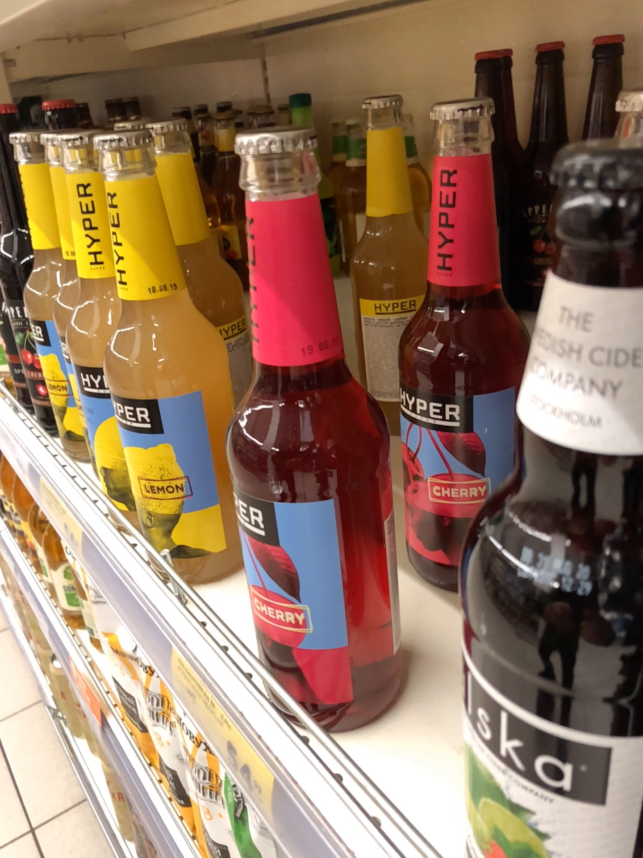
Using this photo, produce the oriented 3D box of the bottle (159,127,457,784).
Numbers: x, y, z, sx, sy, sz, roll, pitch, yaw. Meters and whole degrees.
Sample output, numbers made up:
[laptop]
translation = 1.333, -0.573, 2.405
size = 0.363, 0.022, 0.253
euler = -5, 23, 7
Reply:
[bottle]
translation = 0.001, 0.013, 0.287
size = 0.070, 0.243, 0.080
euler = -15, 27, -19
